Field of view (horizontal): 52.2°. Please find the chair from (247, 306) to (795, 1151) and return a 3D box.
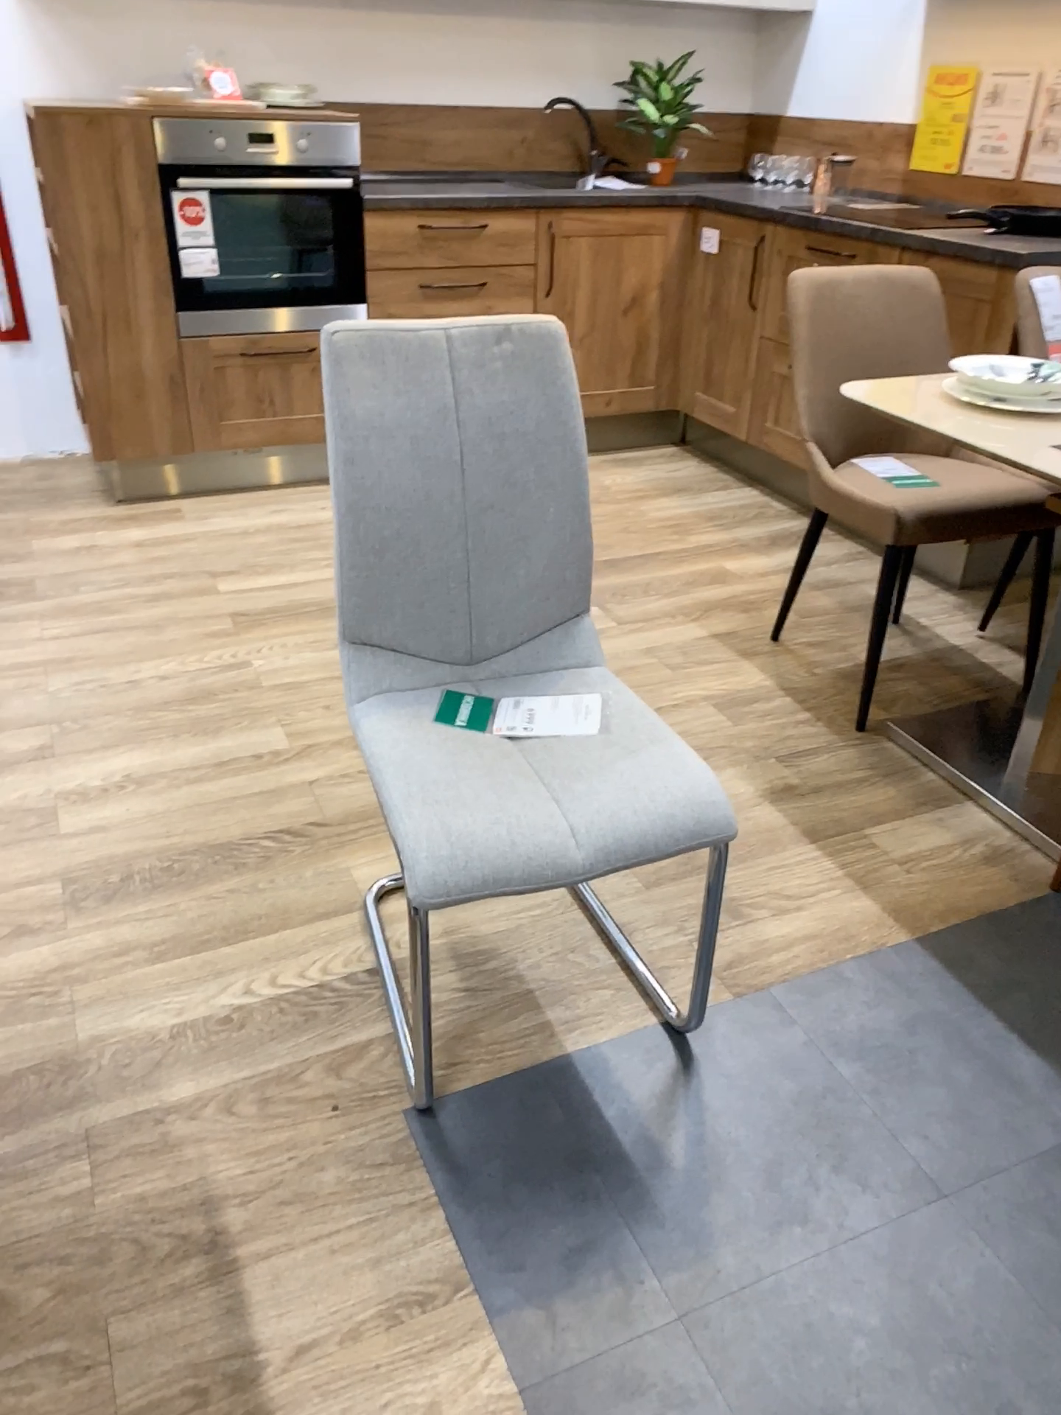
[{"bbox_3d":[-0.062,0.001,1.551,0.491,0.984,0.572,-10,31,-20],"label":"chair"}]
